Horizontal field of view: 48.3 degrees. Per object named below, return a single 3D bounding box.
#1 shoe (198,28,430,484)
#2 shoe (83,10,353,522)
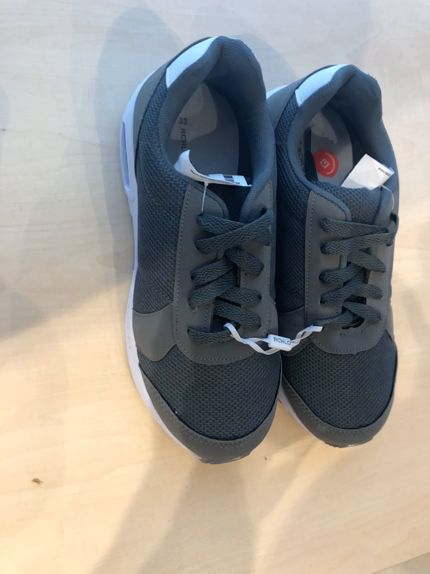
[{"bbox_3d":[0.070,-0.021,0.312,0.100,0.100,0.240,-9,89,-19],"label":"shoe"},{"bbox_3d":[-0.008,-0.013,0.277,0.100,0.100,0.230,-7,88,-19],"label":"shoe"}]
